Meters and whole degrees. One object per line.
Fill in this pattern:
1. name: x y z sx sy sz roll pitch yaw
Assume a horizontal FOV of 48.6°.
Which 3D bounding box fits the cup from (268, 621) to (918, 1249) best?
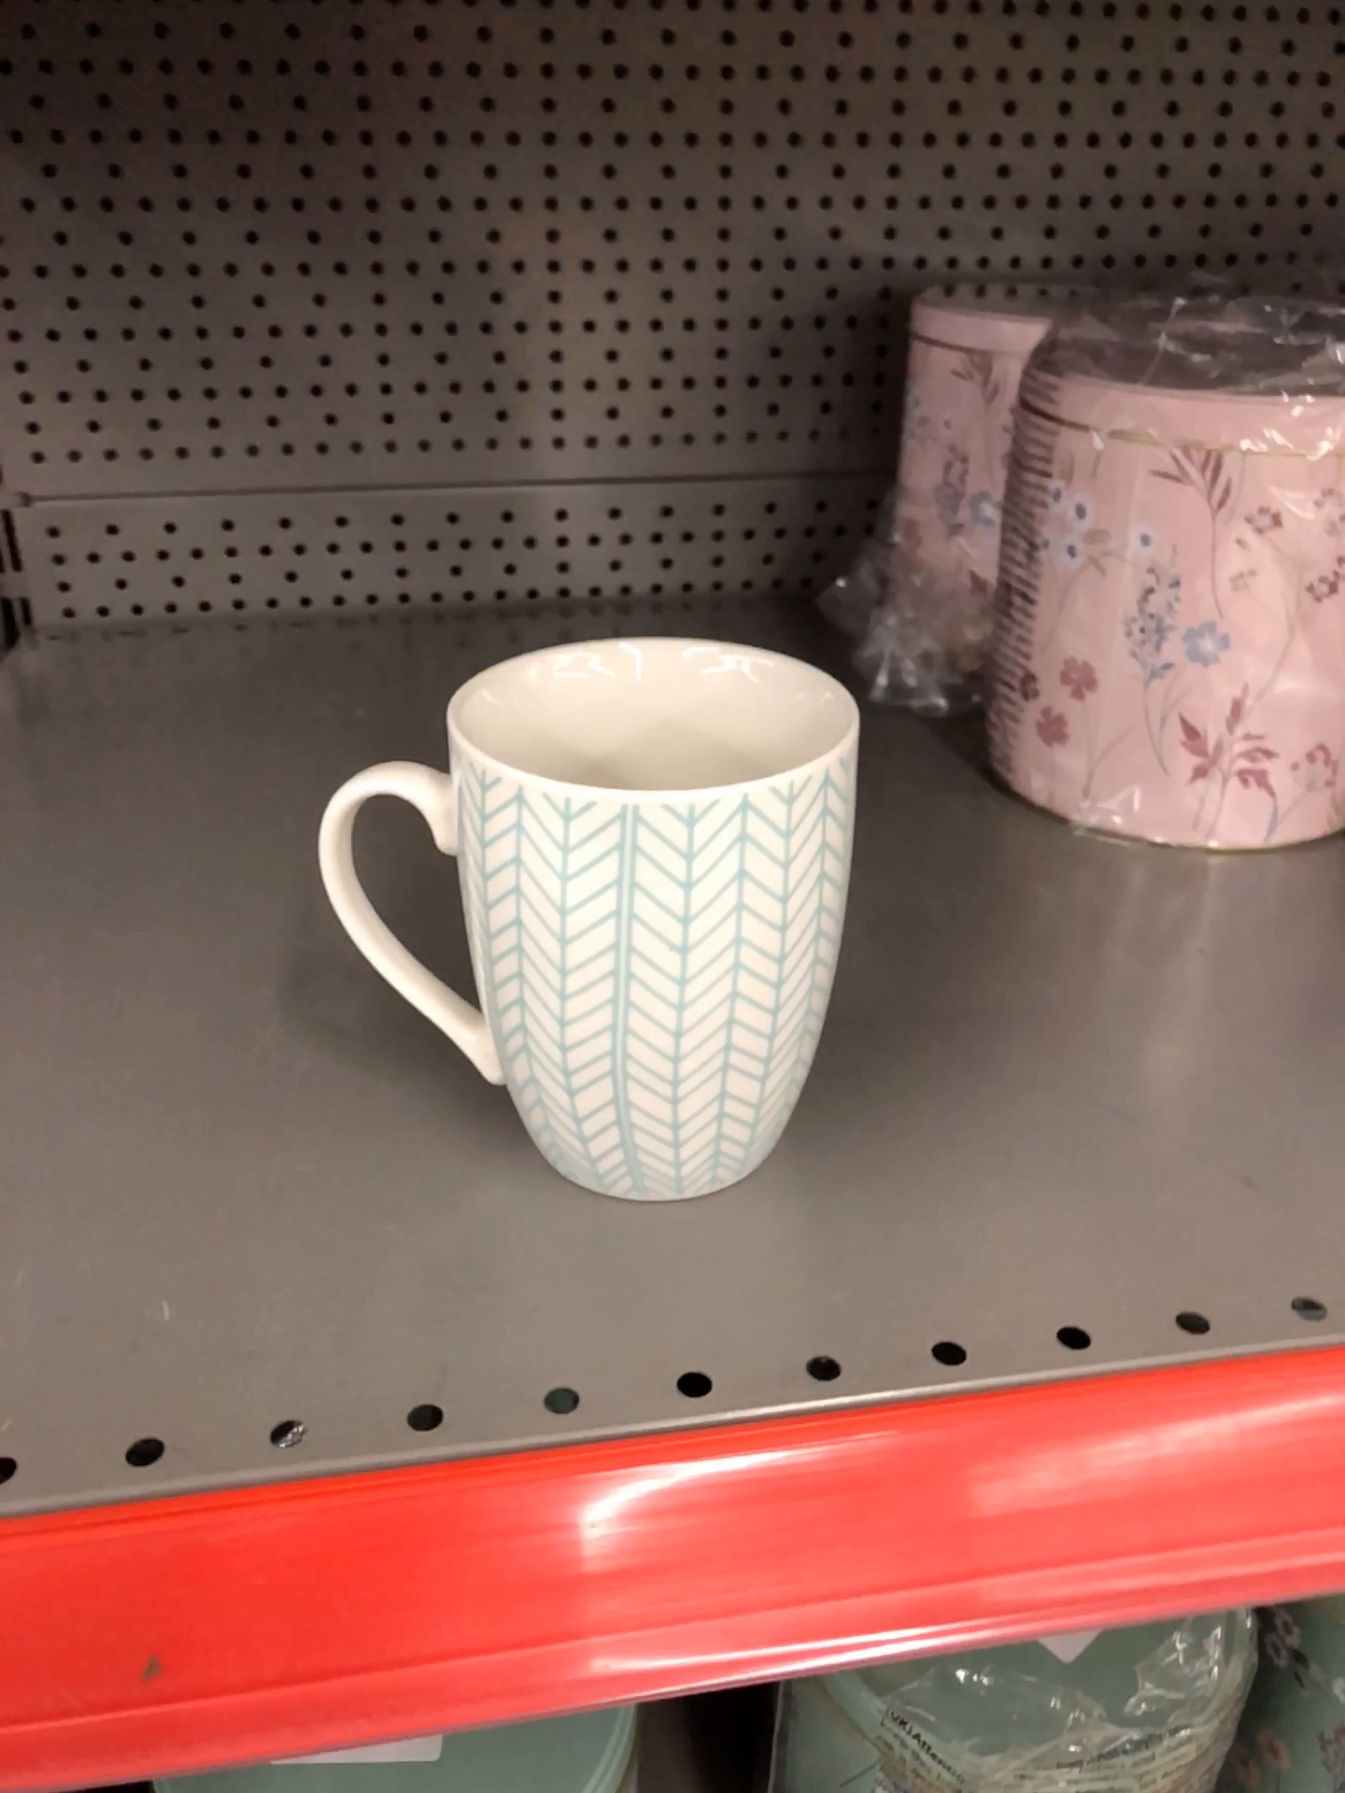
1. cup: -0.010 0.004 0.334 0.119 0.096 0.093 5 30 7
